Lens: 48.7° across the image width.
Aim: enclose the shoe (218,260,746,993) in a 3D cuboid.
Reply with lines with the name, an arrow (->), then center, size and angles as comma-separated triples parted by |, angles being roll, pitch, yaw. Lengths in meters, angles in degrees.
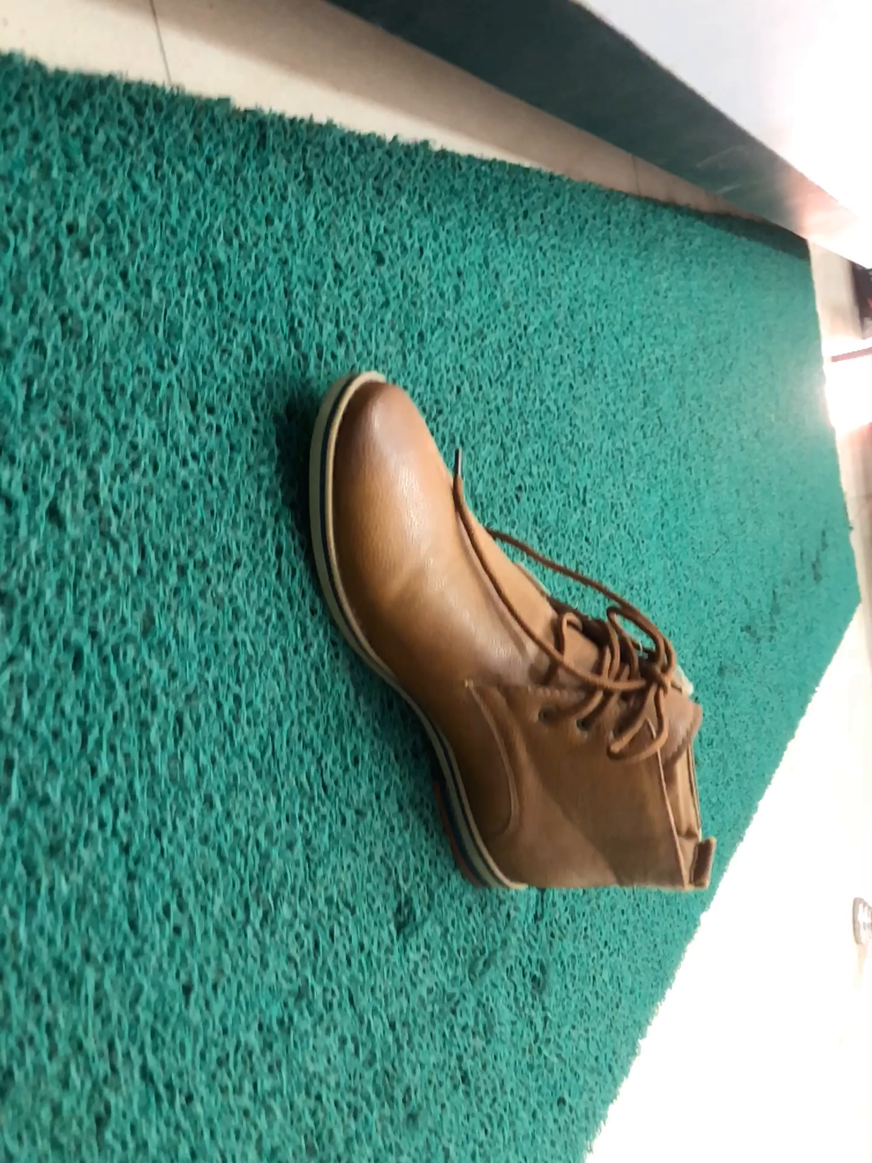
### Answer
shoe -> 0.044, 0.034, 0.450 | 0.121, 0.109, 0.311 | -55, 129, -47
